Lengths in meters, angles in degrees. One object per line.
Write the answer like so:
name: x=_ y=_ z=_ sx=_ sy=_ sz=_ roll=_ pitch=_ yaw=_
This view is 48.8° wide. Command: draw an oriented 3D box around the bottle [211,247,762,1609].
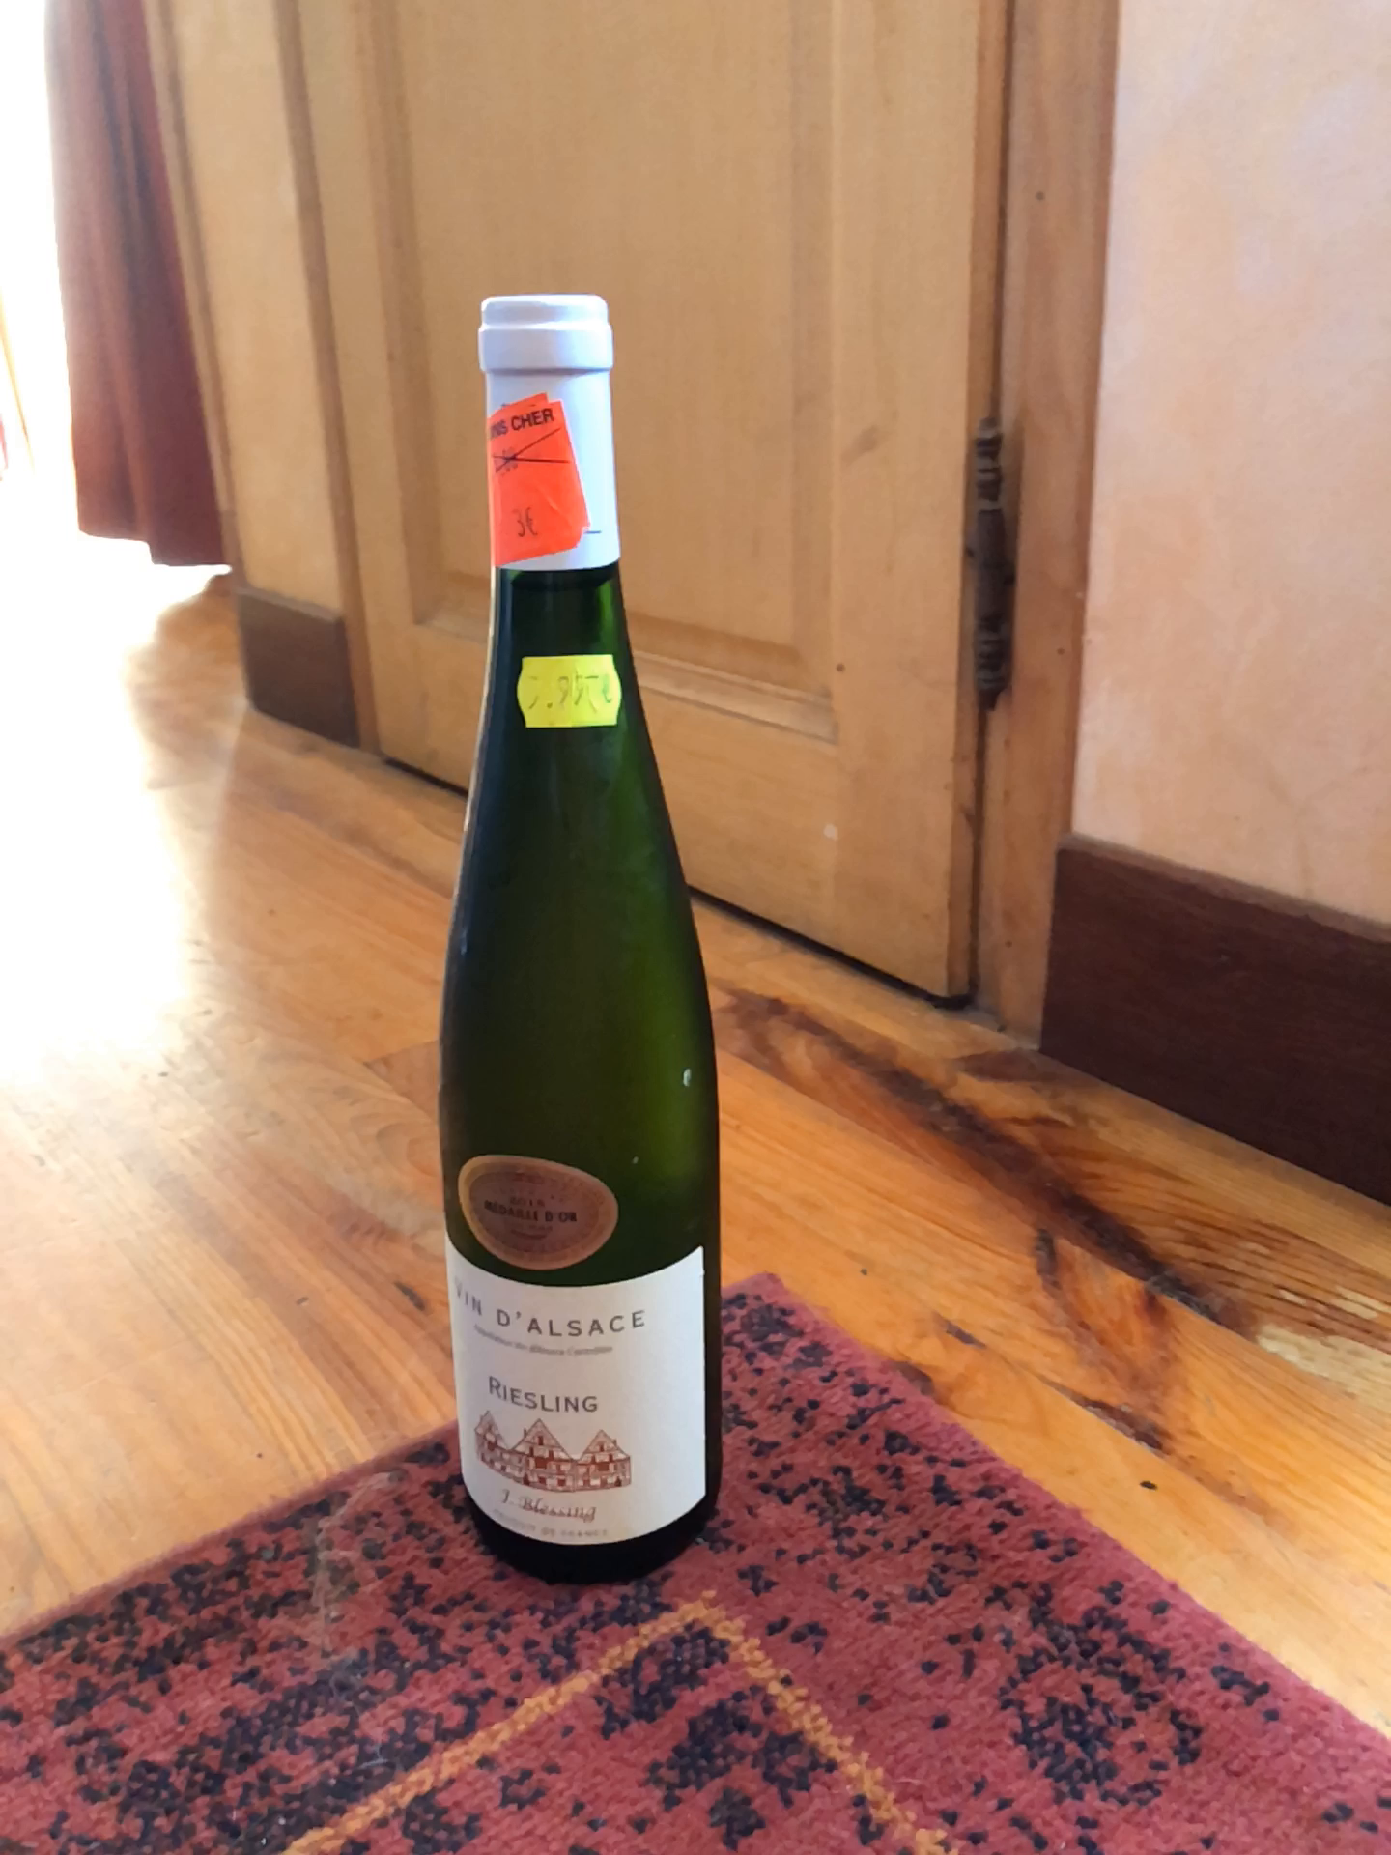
bottle: x=-0.034 y=0.007 z=0.357 sx=0.080 sy=0.298 sz=0.080 roll=-2 pitch=22 yaw=1
